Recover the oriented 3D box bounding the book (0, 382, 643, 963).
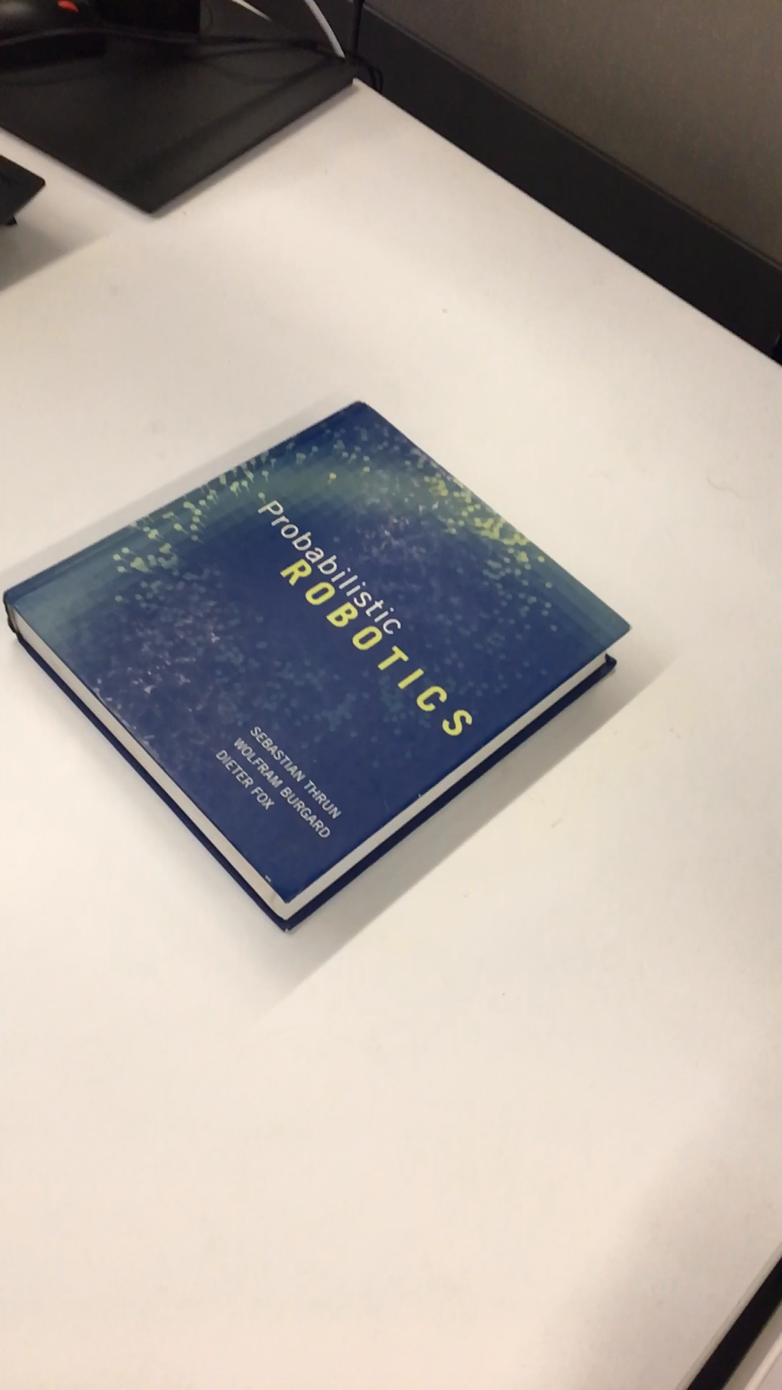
[{"bbox_3d":[-0.039,-0.030,0.565,0.240,0.030,0.220,-37,69,-27],"label":"book"}]
